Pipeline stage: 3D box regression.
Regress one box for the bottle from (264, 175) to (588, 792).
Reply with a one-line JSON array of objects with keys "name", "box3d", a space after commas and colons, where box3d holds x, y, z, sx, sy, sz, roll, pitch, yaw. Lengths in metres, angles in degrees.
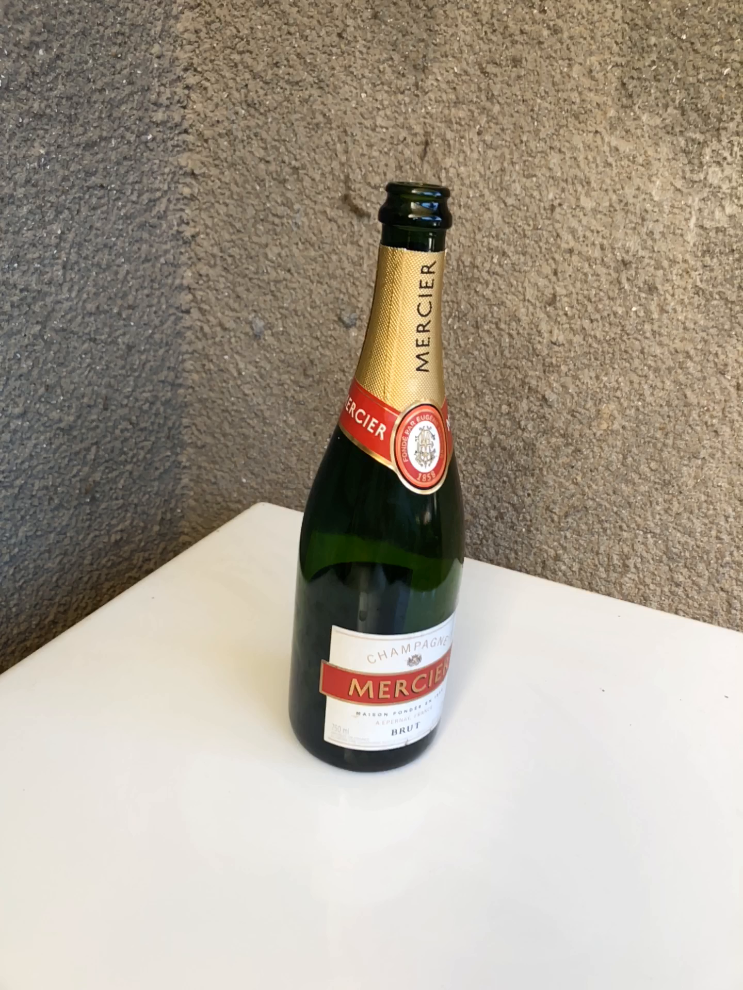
[{"name": "bottle", "box3d": [0.013, -0.002, 0.419, 0.100, 0.288, 0.090, -6, 27, -25]}]
